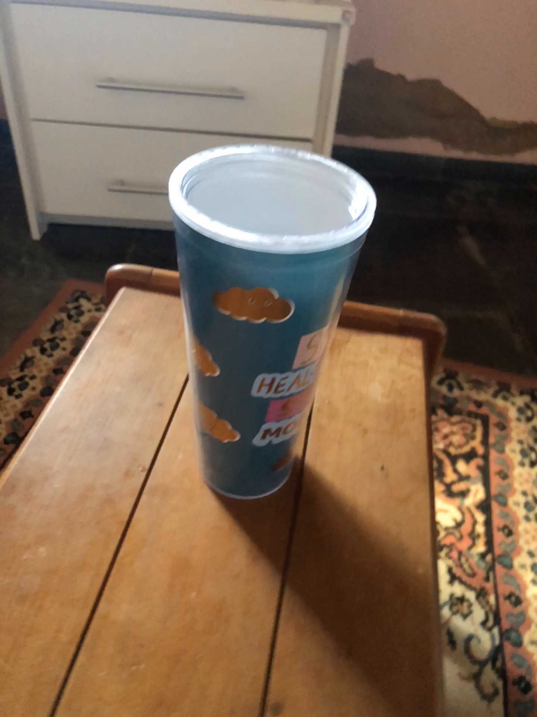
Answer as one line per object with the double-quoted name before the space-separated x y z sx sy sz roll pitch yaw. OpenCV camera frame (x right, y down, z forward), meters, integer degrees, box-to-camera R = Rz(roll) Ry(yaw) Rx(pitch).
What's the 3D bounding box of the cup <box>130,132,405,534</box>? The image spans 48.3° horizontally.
"cup" -0.002 -0.011 0.334 0.100 0.179 0.101 4 40 -3
